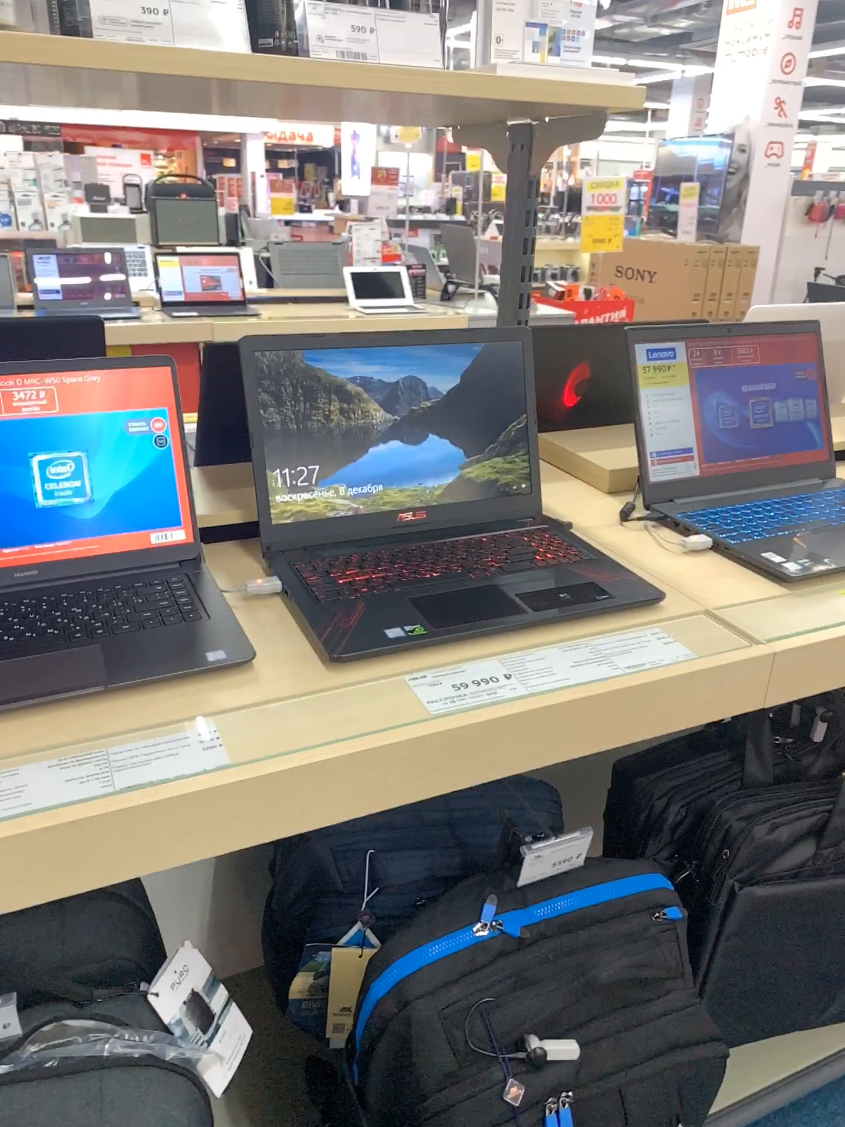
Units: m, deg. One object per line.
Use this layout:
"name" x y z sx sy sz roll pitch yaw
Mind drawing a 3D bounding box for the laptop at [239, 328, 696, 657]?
"laptop" 0.026 -0.107 0.929 0.366 0.230 0.318 -8 25 -23
